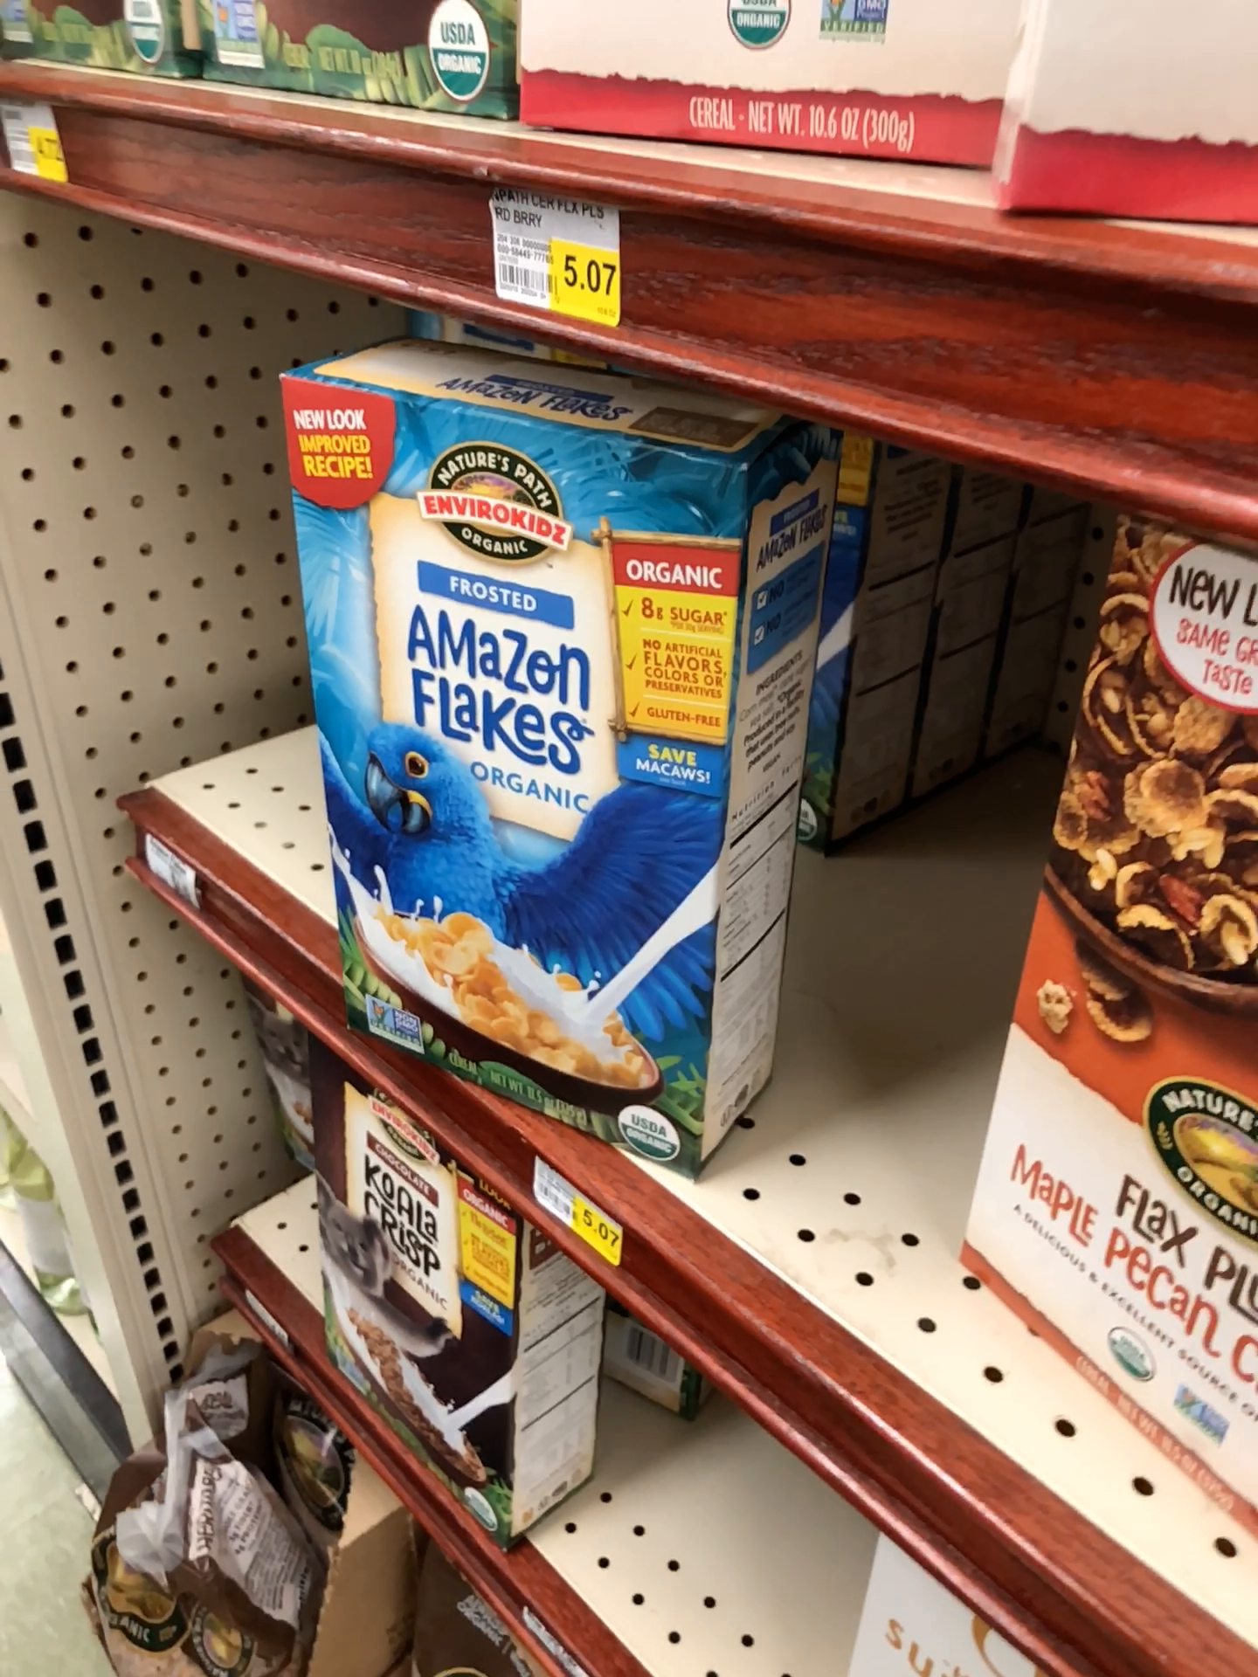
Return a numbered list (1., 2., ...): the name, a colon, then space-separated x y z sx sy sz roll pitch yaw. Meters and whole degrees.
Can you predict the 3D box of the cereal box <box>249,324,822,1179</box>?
1. cereal box: -0.029 -0.025 0.477 0.160 0.259 0.060 18 38 26
